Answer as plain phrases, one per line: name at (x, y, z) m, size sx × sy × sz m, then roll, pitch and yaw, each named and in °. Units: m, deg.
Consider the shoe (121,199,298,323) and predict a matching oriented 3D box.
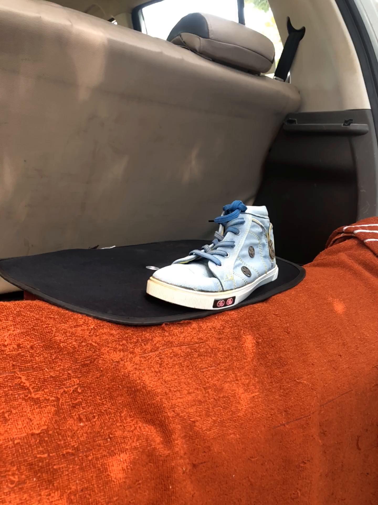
shoe at (0.042, -0.007, 0.564) m, size 0.110 × 0.110 × 0.261 m, roll 15°, pitch 15°, yaw 31°
